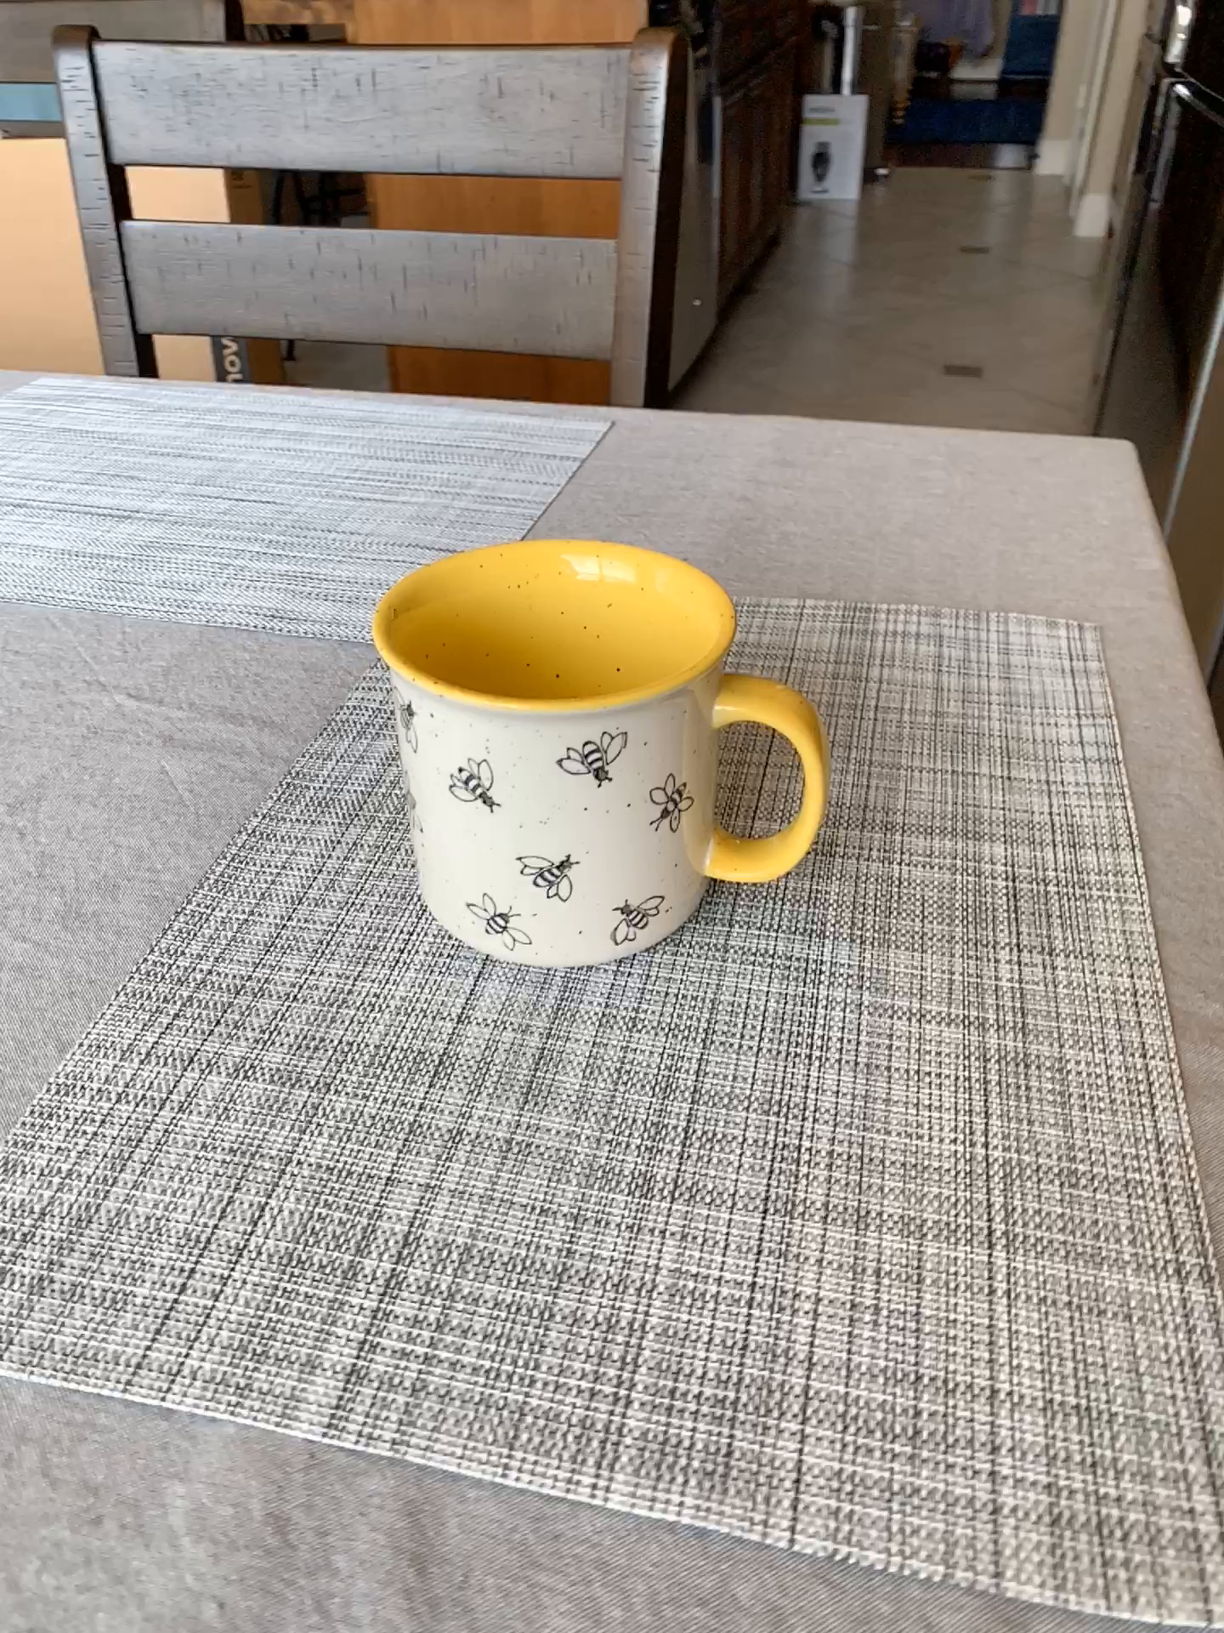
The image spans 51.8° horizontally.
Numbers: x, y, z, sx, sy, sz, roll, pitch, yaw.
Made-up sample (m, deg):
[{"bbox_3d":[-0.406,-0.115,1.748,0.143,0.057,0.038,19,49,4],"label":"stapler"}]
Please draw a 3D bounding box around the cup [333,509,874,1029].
[{"bbox_3d":[0.005,-0.021,0.407,0.136,0.107,0.114,8,37,13],"label":"cup"}]
